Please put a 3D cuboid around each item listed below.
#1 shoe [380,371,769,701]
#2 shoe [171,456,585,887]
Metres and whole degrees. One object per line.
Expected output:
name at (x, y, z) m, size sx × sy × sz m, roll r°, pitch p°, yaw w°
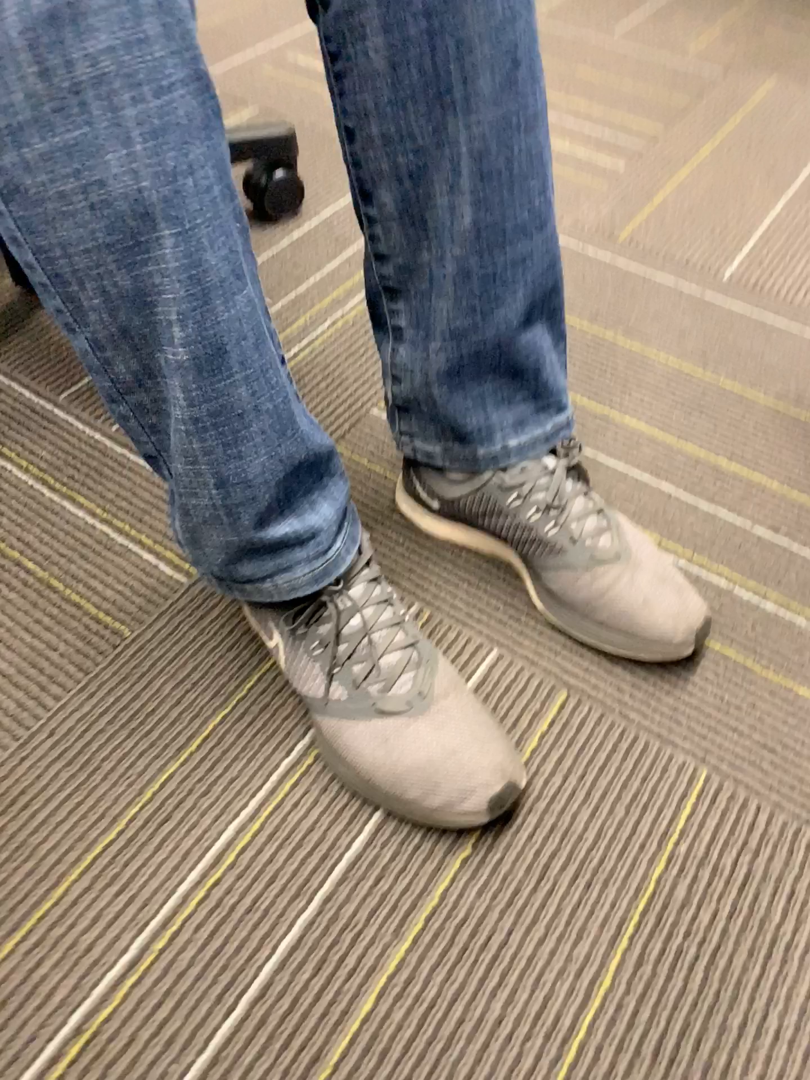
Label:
shoe at (0.126, -0.015, 0.682) m, size 0.287 × 0.078 × 0.124 m, roll 36°, pitch 58°, yaw 24°
shoe at (-0.030, 0.076, 0.588) m, size 0.132 × 0.078 × 0.284 m, roll -31°, pitch 58°, yaw -25°
